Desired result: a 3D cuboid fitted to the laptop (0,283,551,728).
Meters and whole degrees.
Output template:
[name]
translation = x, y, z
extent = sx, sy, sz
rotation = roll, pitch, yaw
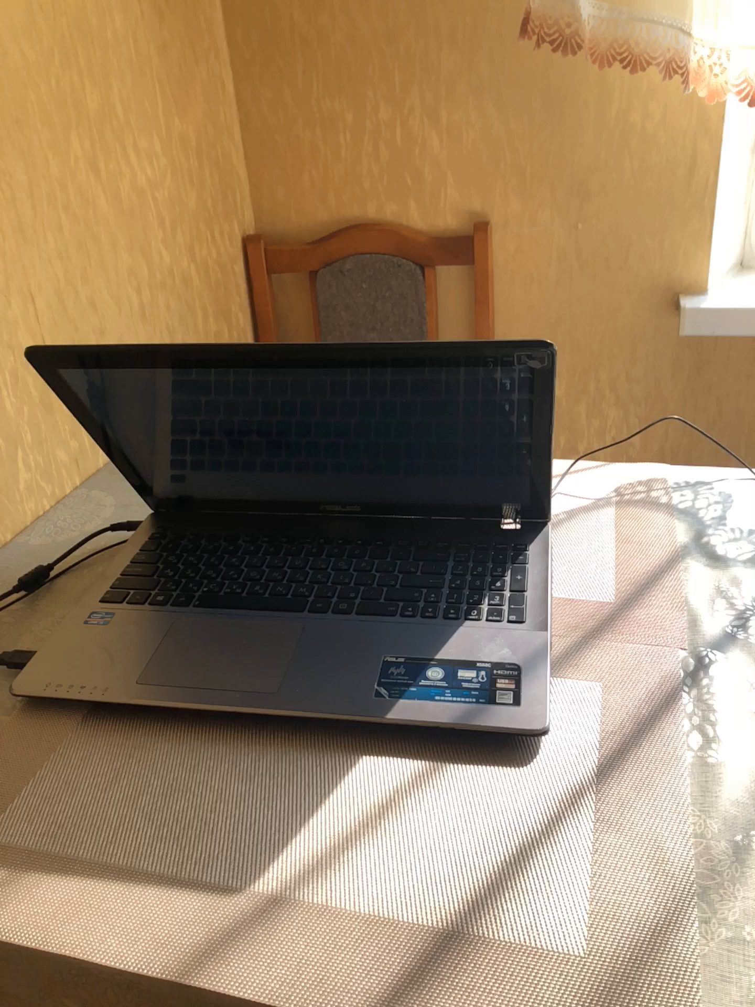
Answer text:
[laptop]
translation = -0.064, -0.018, 0.587
extent = 0.362, 0.200, 0.246
rotation = 1, 29, 12
